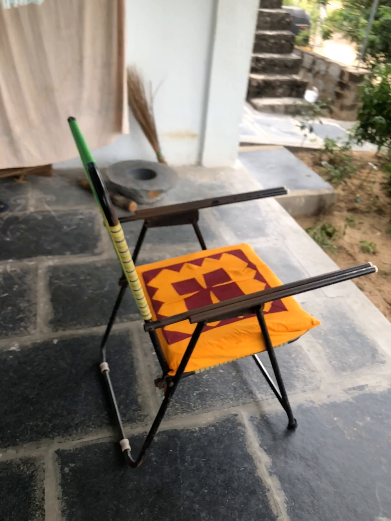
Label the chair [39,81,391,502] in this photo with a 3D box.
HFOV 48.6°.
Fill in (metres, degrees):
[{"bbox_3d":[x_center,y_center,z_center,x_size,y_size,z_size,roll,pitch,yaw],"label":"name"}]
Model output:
[{"bbox_3d":[0.007,0.023,1.198,0.682,0.825,0.662,-9,37,-19],"label":"chair"}]
